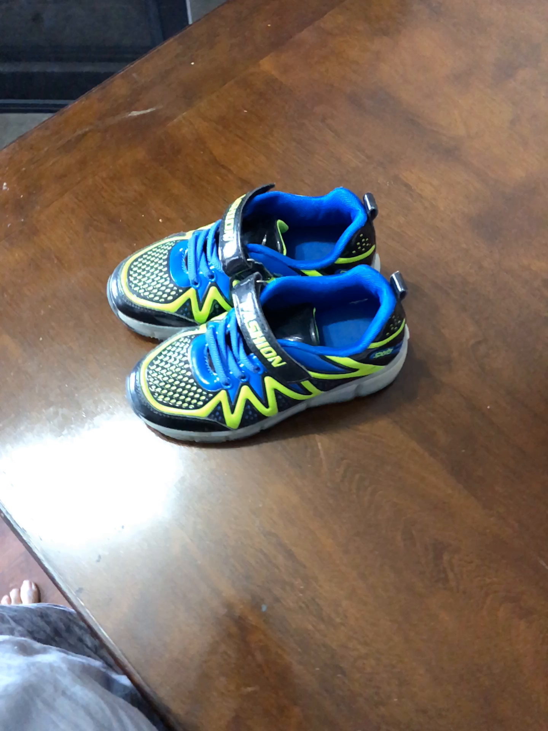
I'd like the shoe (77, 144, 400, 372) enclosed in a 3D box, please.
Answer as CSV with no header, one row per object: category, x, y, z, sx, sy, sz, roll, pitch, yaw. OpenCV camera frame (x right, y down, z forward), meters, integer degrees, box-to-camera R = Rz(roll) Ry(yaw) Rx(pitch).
shoe,-0.028,-0.078,0.474,0.210,0.120,0.100,-9,69,-4

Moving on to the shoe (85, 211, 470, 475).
shoe,0.001,-0.011,0.444,0.230,0.120,0.090,-17,70,-8
